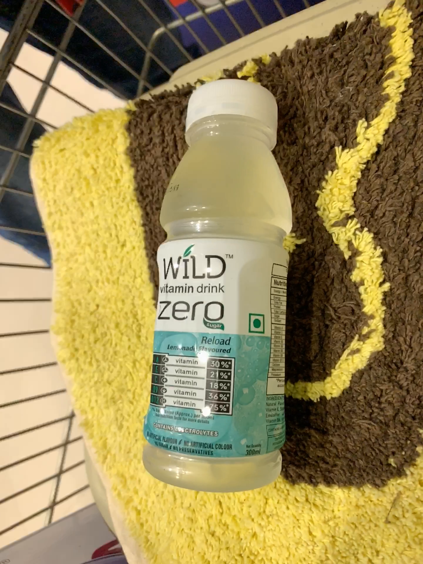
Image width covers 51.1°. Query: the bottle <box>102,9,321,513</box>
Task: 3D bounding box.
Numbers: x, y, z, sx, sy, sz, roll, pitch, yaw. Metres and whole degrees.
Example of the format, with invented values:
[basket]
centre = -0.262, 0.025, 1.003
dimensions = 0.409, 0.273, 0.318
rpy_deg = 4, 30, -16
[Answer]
[bottle]
centre = 0.002, -0.009, 0.171
dimensions = 0.060, 0.040, 0.160
rpy_deg = -1, 80, 35
